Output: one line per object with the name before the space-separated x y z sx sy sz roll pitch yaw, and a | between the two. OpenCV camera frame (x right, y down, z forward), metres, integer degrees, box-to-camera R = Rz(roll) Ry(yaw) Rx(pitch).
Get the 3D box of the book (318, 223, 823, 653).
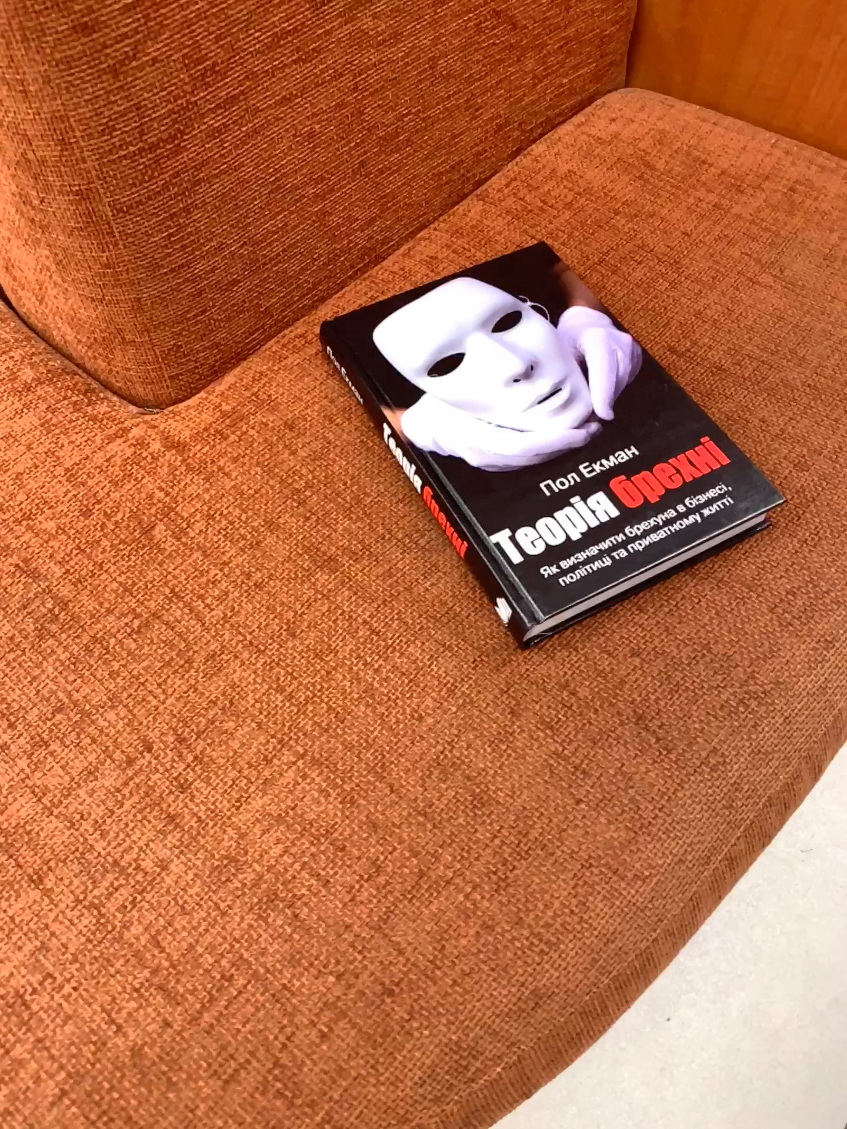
book | 0.061 -0.077 0.430 0.150 0.030 0.209 -26 59 -13
